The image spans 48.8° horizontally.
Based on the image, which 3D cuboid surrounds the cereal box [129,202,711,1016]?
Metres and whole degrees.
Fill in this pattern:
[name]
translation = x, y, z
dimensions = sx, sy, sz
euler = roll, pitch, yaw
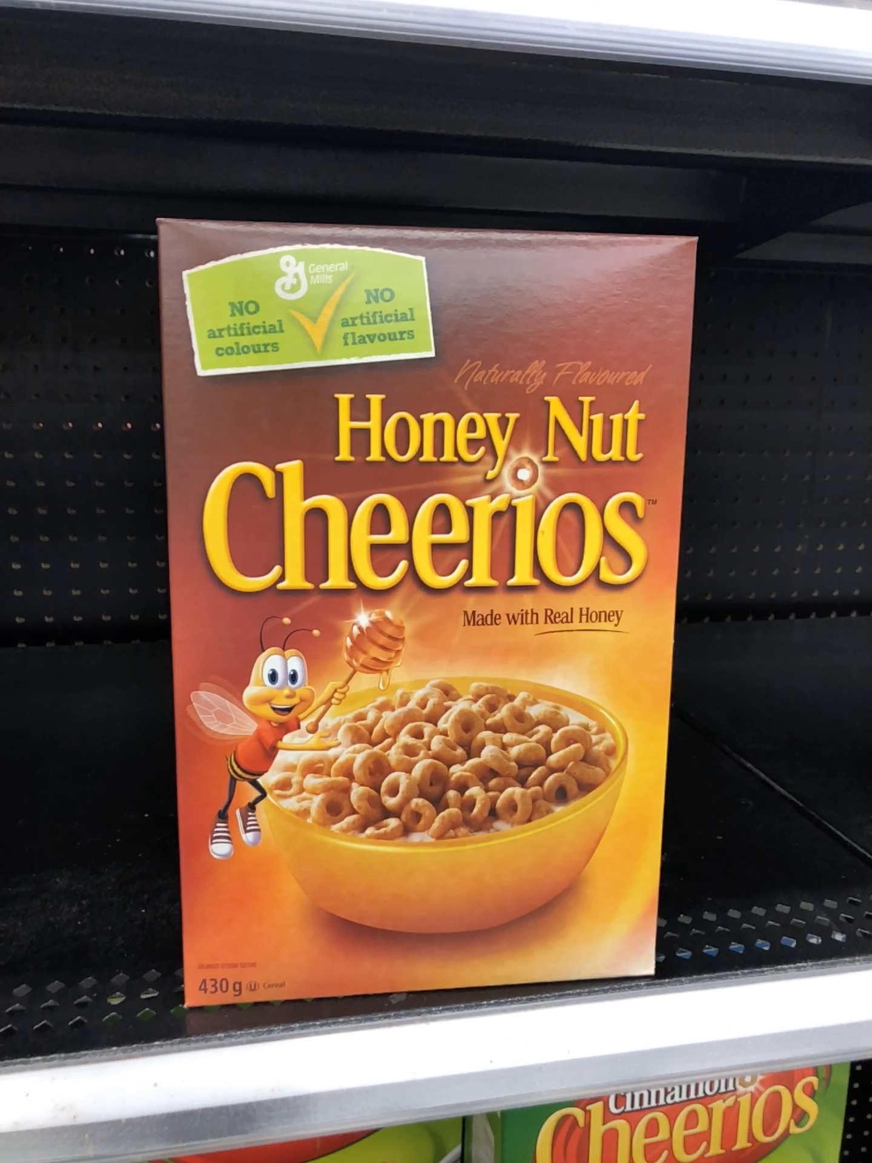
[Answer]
[cereal box]
translation = -0.009, 0.013, 0.391
dimensions = 0.200, 0.299, 0.070
euler = -1, 12, -8
